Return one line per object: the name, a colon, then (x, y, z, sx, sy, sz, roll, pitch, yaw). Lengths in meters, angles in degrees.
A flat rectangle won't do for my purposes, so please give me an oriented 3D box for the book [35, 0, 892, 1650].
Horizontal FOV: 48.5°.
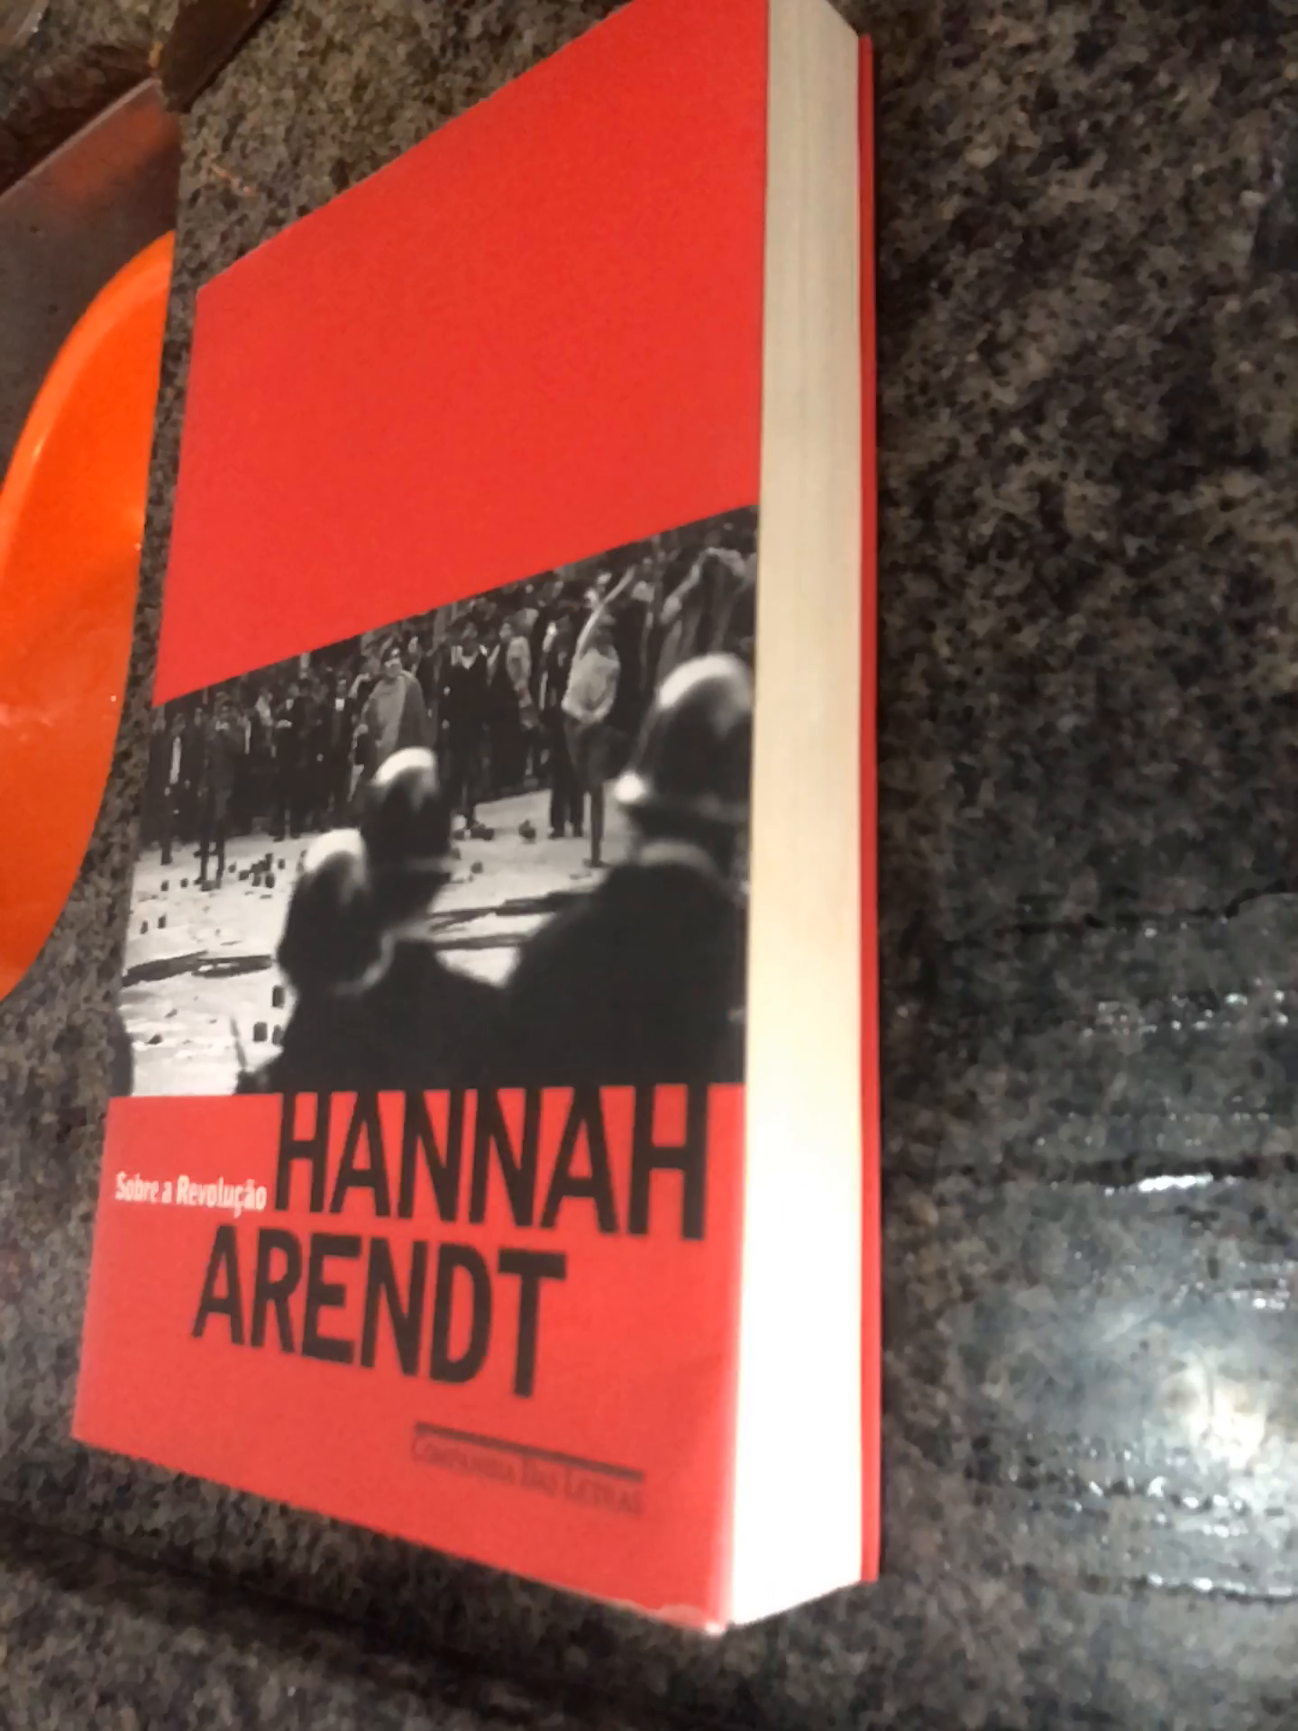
book: (-0.033, -0.014, 0.223, 0.145, 0.030, 0.210, -9, 74, 41)
